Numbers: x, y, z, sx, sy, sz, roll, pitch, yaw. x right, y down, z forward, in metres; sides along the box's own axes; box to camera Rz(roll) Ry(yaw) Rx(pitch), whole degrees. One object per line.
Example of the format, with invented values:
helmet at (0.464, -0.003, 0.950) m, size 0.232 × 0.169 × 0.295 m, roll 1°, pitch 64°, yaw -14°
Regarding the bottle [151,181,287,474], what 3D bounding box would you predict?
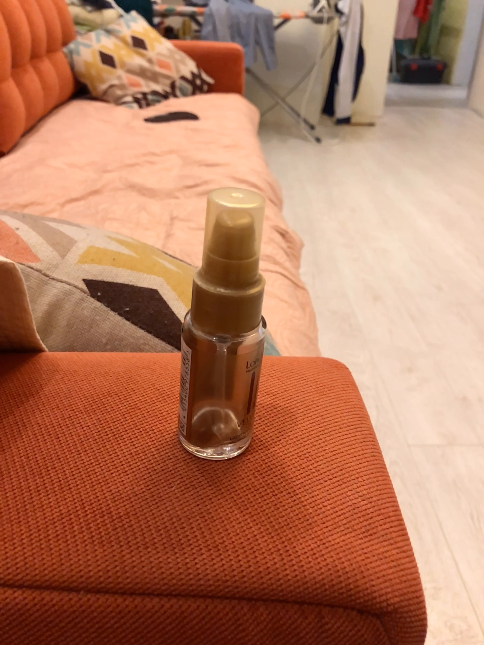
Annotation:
bottle at (-0.009, 0.004, 0.213) m, size 0.033 × 0.106 × 0.034 m, roll 1°, pitch 30°, yaw -1°
